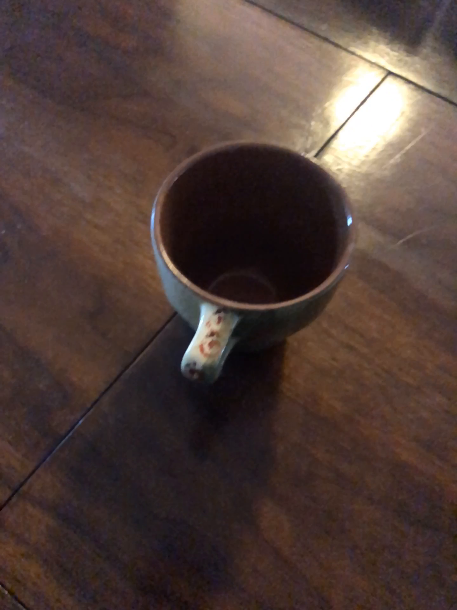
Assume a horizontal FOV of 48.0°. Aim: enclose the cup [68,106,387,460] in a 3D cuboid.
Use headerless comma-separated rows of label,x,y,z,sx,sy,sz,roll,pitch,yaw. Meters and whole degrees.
cup,0.004,-0.007,0.281,0.100,0.110,0.130,23,64,9
